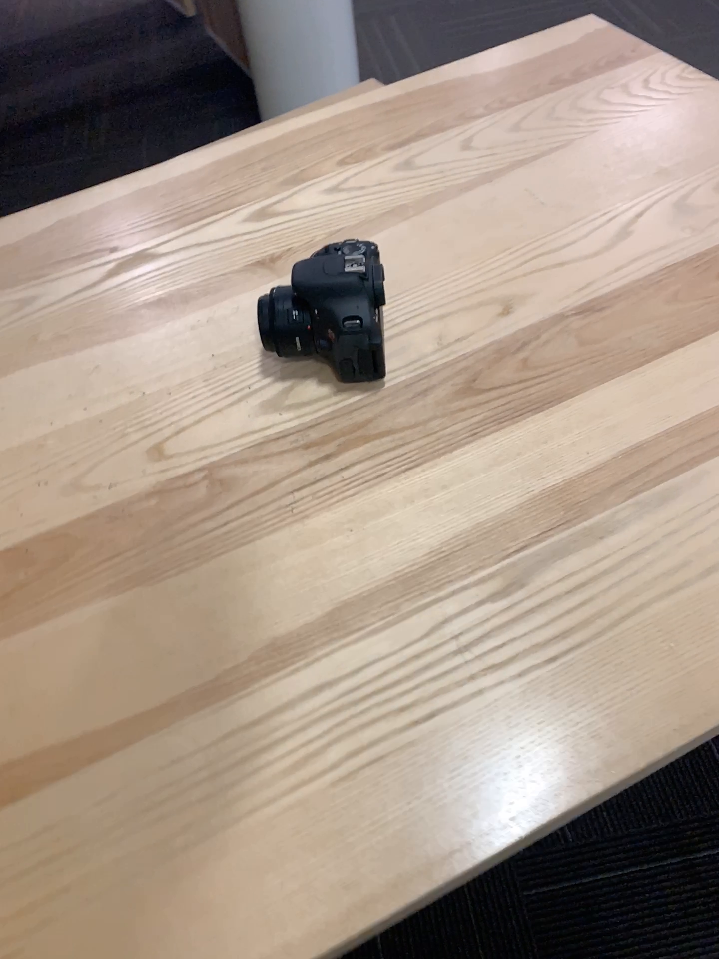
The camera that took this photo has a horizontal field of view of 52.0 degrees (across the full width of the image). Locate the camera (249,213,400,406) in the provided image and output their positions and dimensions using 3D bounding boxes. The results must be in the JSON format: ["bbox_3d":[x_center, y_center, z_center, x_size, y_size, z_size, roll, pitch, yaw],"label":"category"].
[{"bbox_3d":[-0.029,-0.160,0.690,0.120,0.100,0.145,-5,48,3],"label":"camera"}]
